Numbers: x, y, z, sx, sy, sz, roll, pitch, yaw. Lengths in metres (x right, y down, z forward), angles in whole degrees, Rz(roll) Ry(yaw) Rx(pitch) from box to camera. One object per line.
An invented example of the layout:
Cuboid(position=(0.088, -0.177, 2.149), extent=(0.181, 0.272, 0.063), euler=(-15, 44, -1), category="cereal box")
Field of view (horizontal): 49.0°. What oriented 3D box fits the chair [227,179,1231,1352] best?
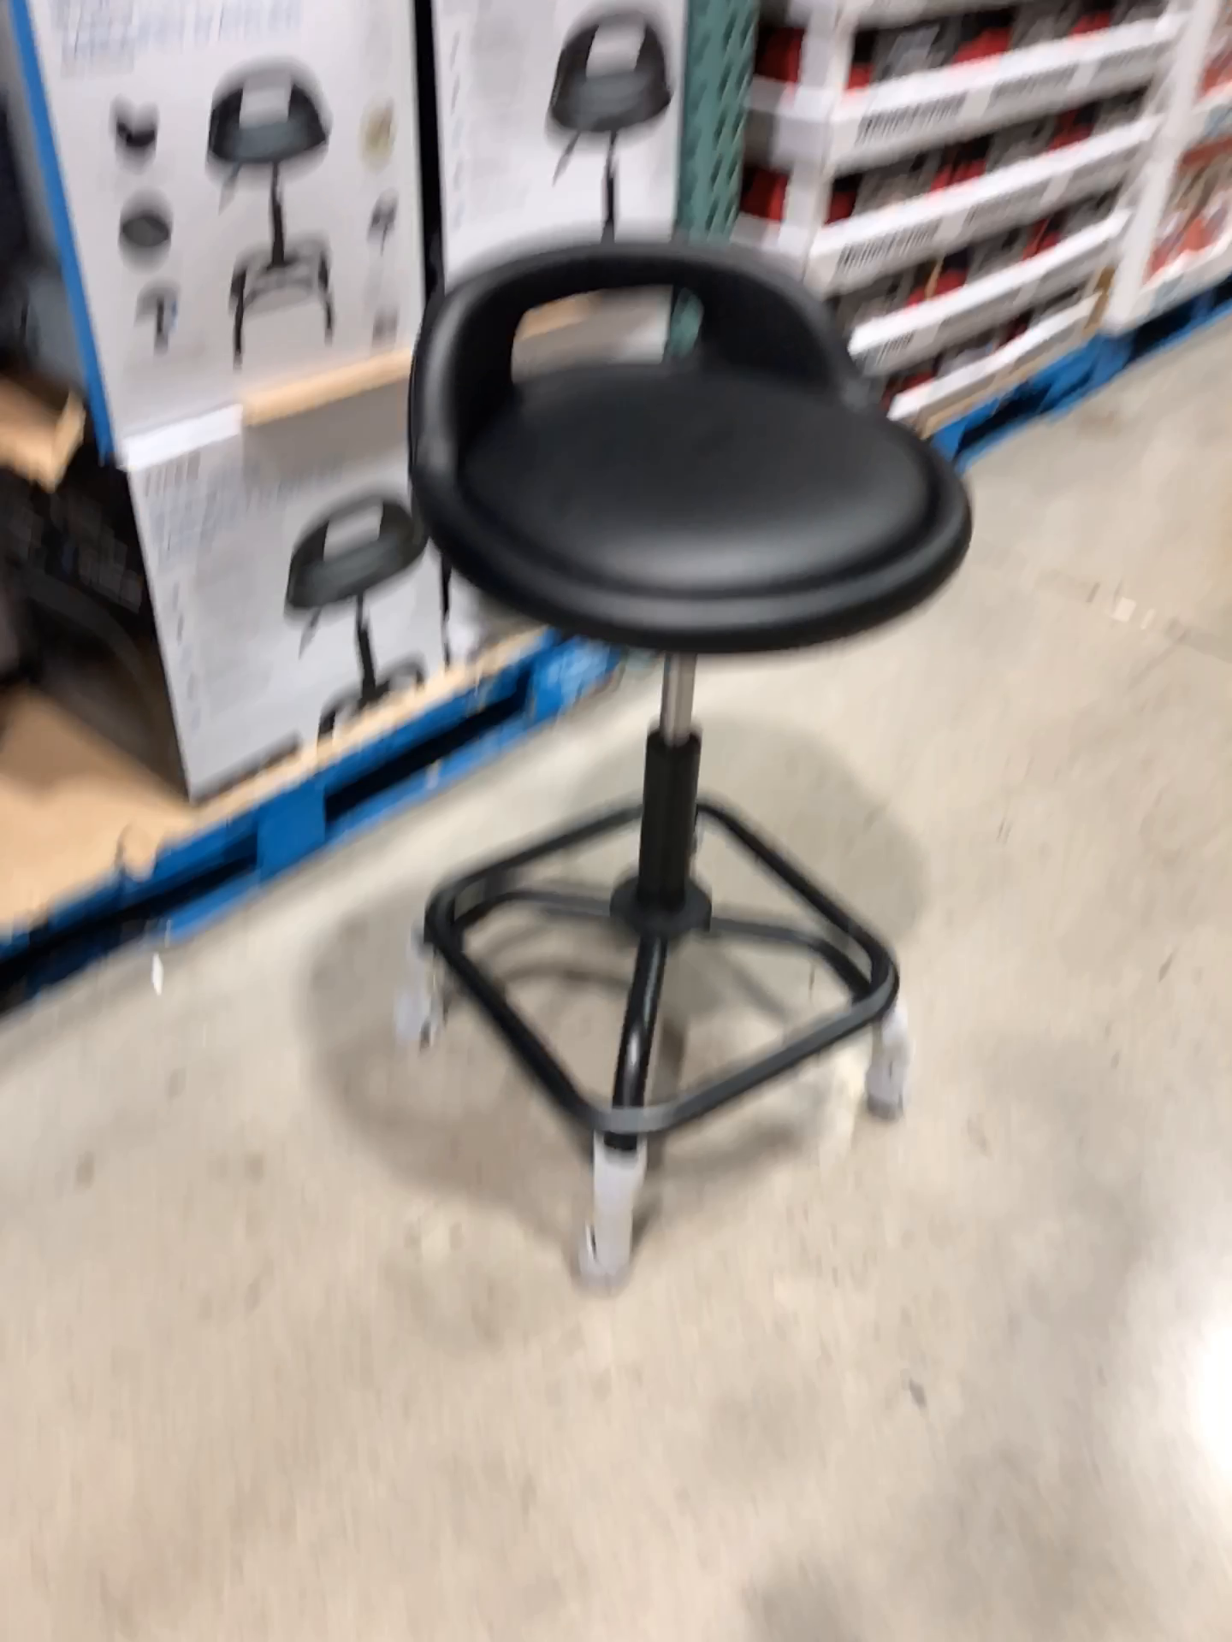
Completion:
Cuboid(position=(0.045, -0.062, 1.169), extent=(0.481, 0.747, 0.511), euler=(-23, 46, -28), category="chair")
